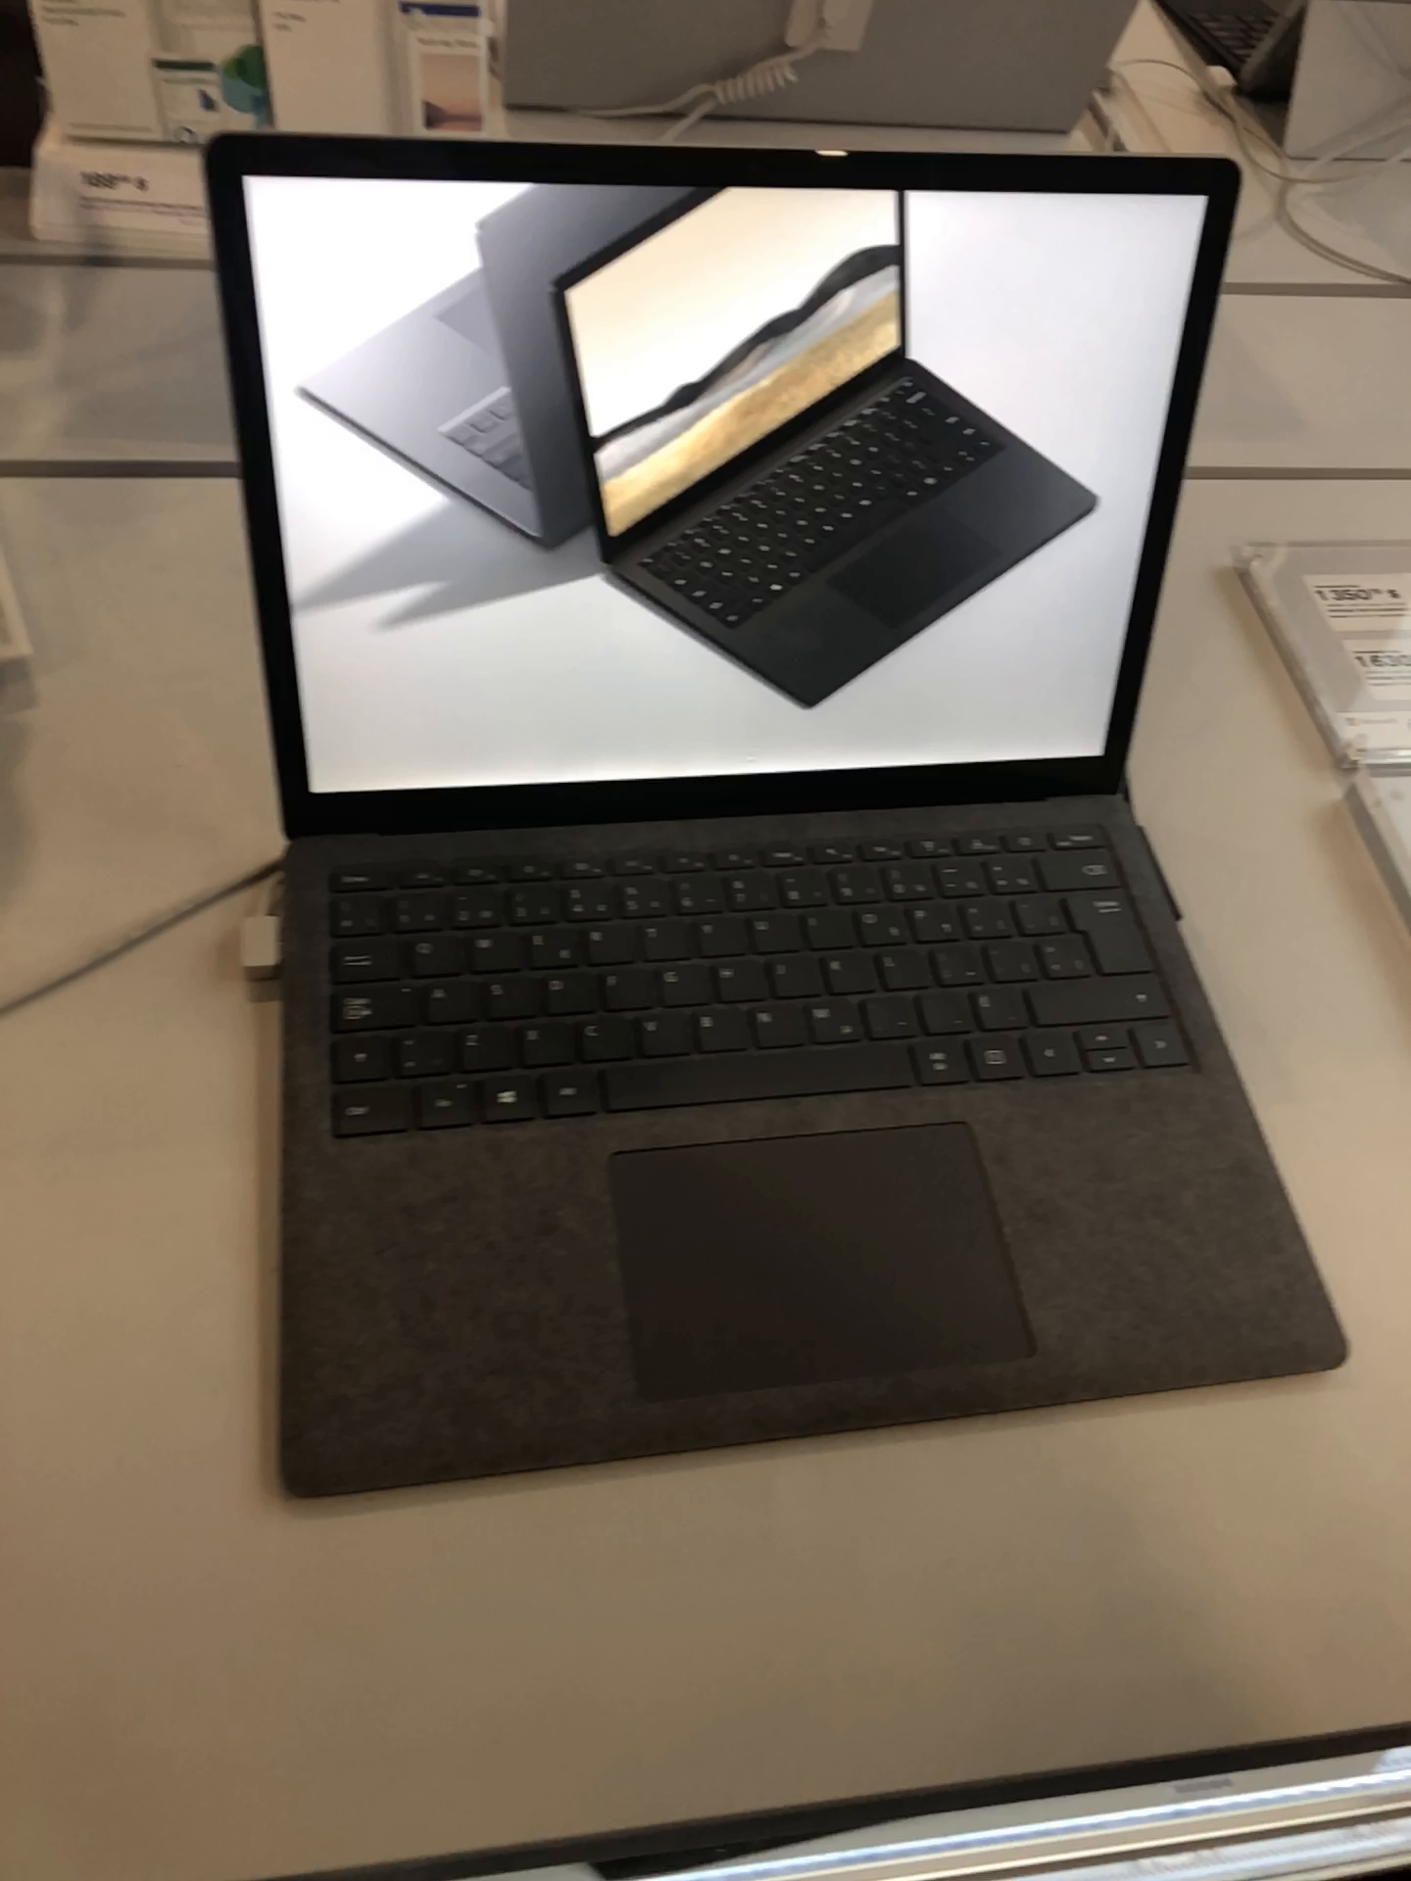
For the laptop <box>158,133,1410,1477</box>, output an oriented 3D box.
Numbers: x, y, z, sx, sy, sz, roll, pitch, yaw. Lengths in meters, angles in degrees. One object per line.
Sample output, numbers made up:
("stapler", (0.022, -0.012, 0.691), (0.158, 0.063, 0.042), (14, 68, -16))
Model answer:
("laptop", (0.025, -0.048, 0.438), (0.297, 0.197, 0.296), (-4, 54, -10))
